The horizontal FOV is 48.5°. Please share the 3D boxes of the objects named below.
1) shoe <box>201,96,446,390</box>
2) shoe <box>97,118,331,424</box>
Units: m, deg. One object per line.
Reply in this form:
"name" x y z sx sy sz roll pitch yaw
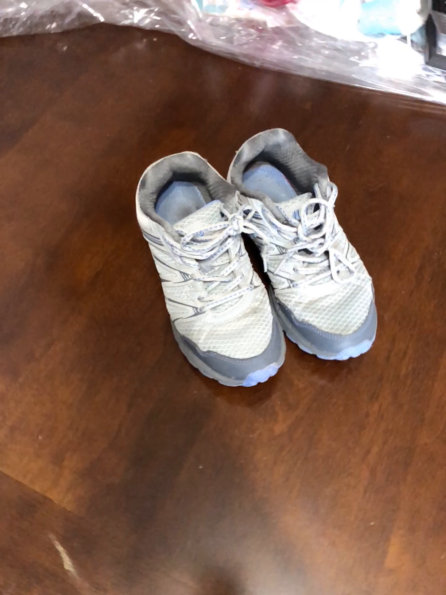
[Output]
"shoe" 0.080 -0.061 0.486 0.110 0.100 0.260 -20 62 -10
"shoe" -0.018 -0.032 0.459 0.110 0.100 0.250 -21 62 -10
